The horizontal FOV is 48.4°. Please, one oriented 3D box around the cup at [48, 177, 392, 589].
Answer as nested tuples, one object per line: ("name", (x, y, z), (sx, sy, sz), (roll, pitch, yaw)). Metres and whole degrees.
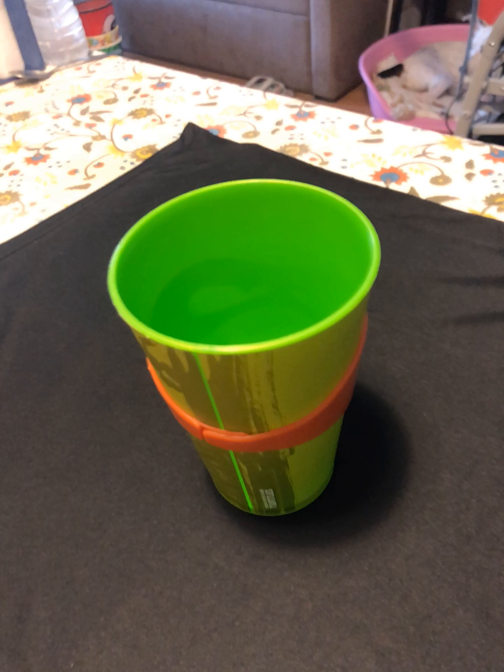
("cup", (0.003, 0.022, 0.248), (0.100, 0.139, 0.111), (4, 47, 12))
